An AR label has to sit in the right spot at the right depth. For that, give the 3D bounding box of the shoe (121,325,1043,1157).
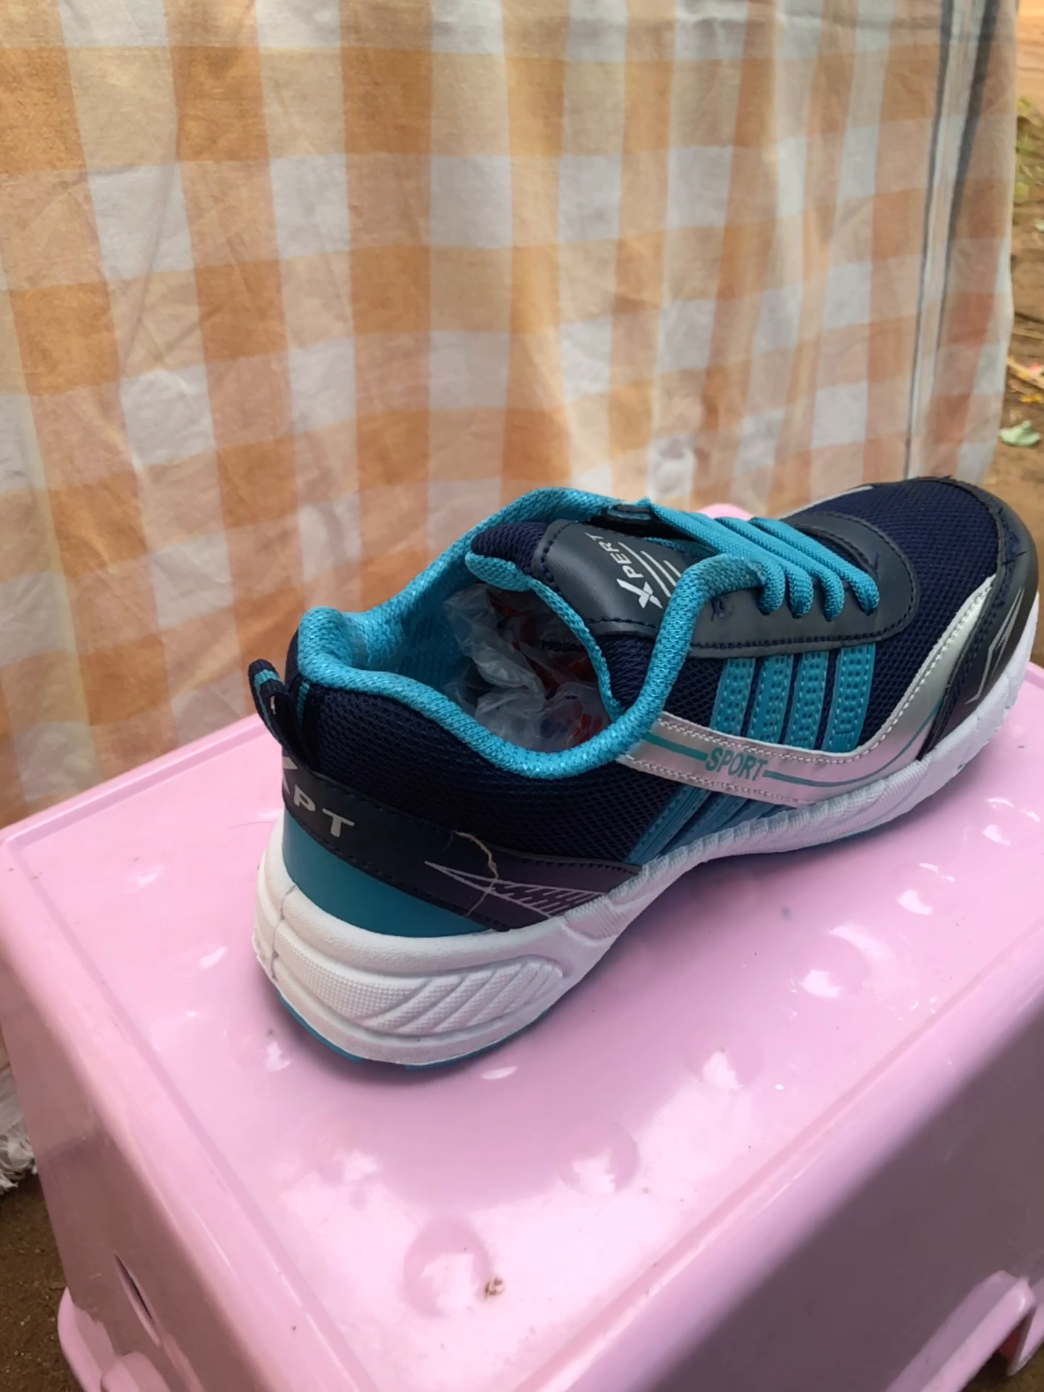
[{"bbox_3d":[0.047,-0.012,0.332,0.271,0.109,0.110,-22,44,-30],"label":"shoe"}]
